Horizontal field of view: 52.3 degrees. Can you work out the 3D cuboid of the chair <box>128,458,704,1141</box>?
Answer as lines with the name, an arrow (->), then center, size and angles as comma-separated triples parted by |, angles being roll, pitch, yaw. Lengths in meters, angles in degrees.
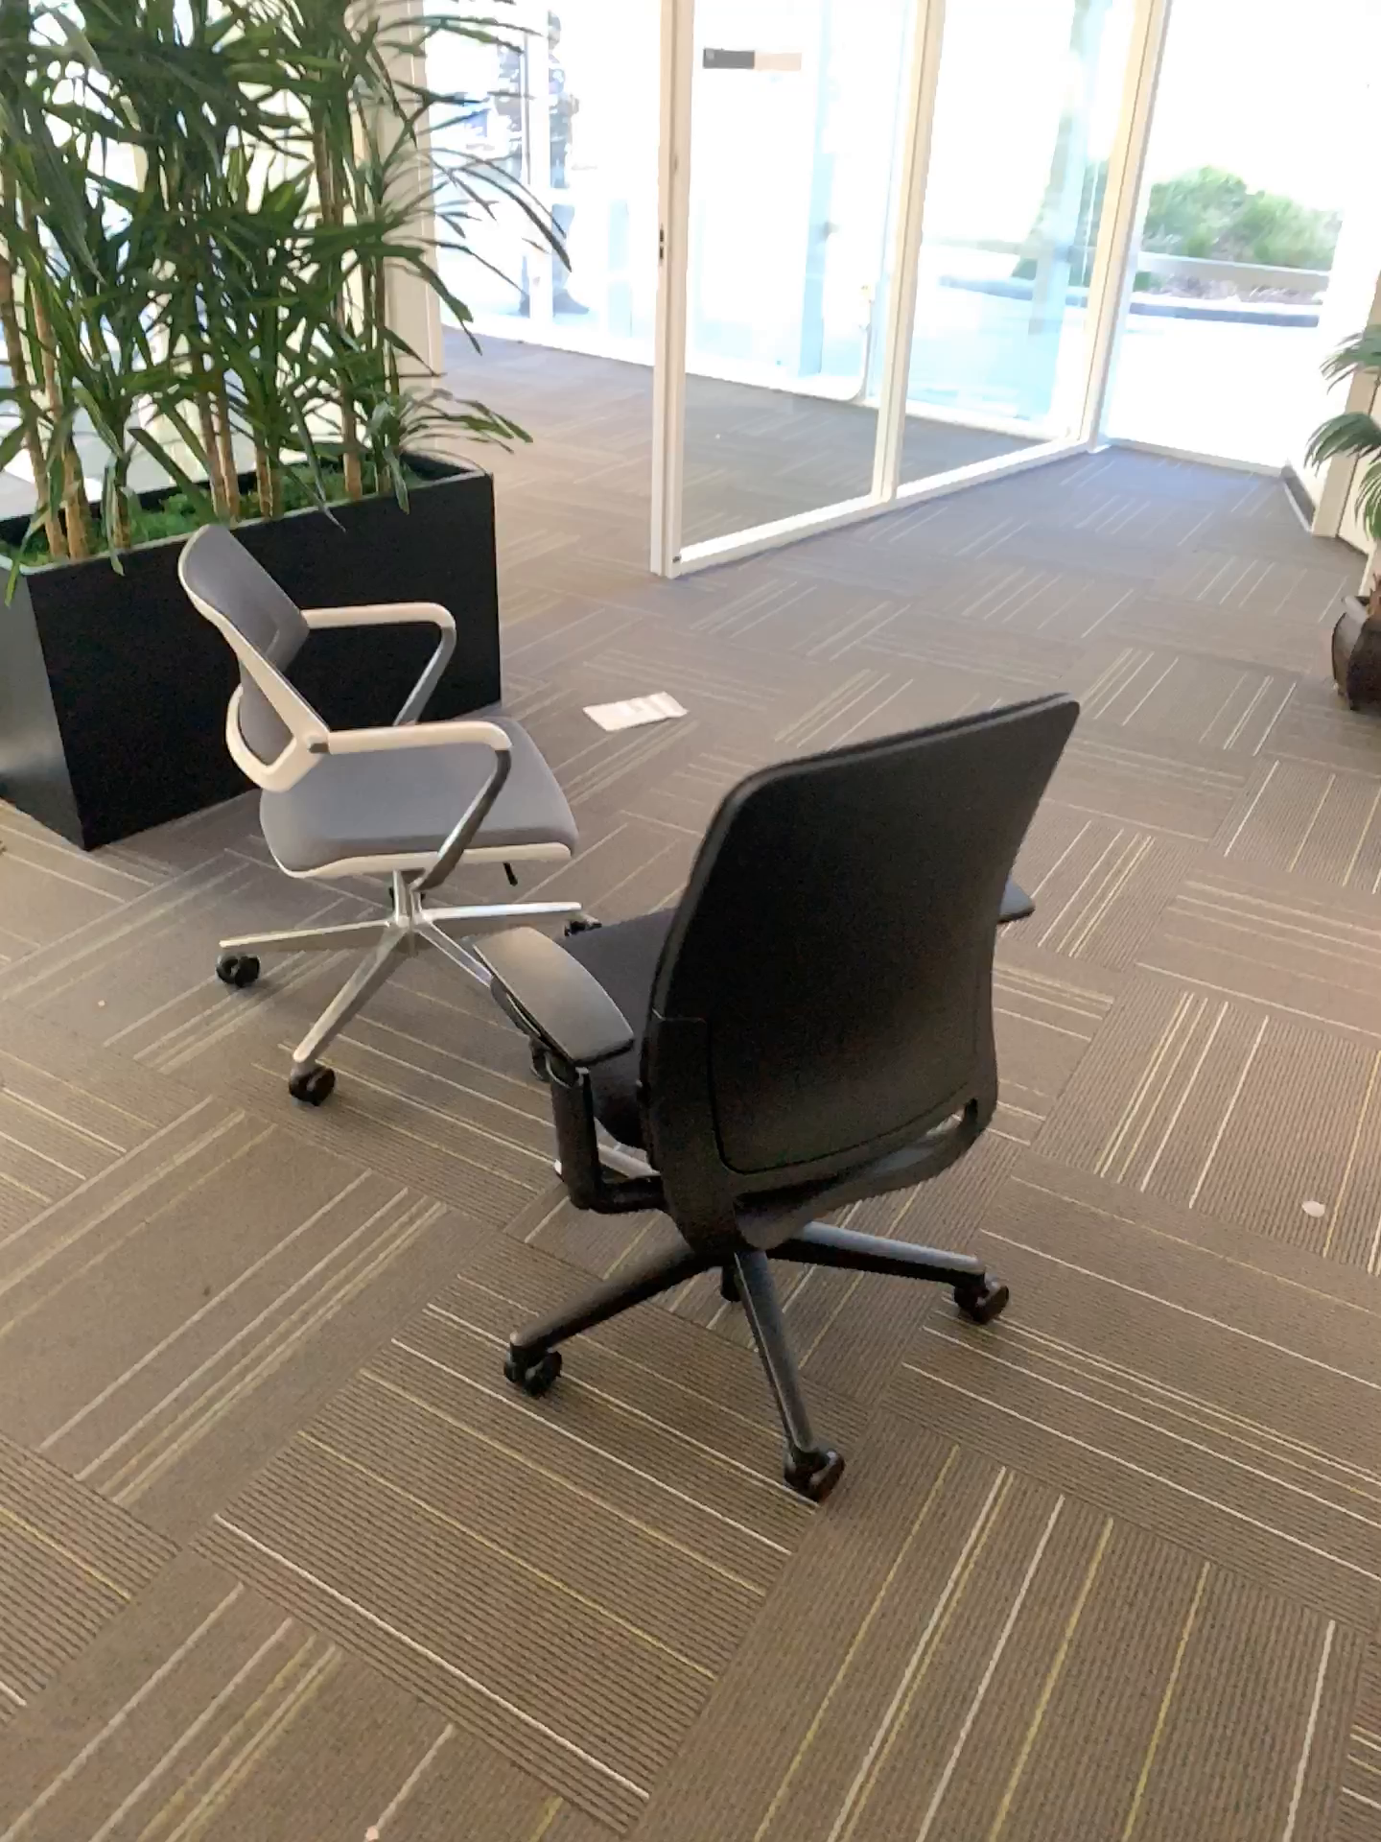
chair -> -0.491, -0.270, 2.425 | 0.740, 0.795, 0.845 | -10, 33, -19

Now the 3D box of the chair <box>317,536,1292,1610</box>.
chair -> 0.070, 0.106, 1.742 | 0.770, 0.884, 0.744 | -15, 35, -26
